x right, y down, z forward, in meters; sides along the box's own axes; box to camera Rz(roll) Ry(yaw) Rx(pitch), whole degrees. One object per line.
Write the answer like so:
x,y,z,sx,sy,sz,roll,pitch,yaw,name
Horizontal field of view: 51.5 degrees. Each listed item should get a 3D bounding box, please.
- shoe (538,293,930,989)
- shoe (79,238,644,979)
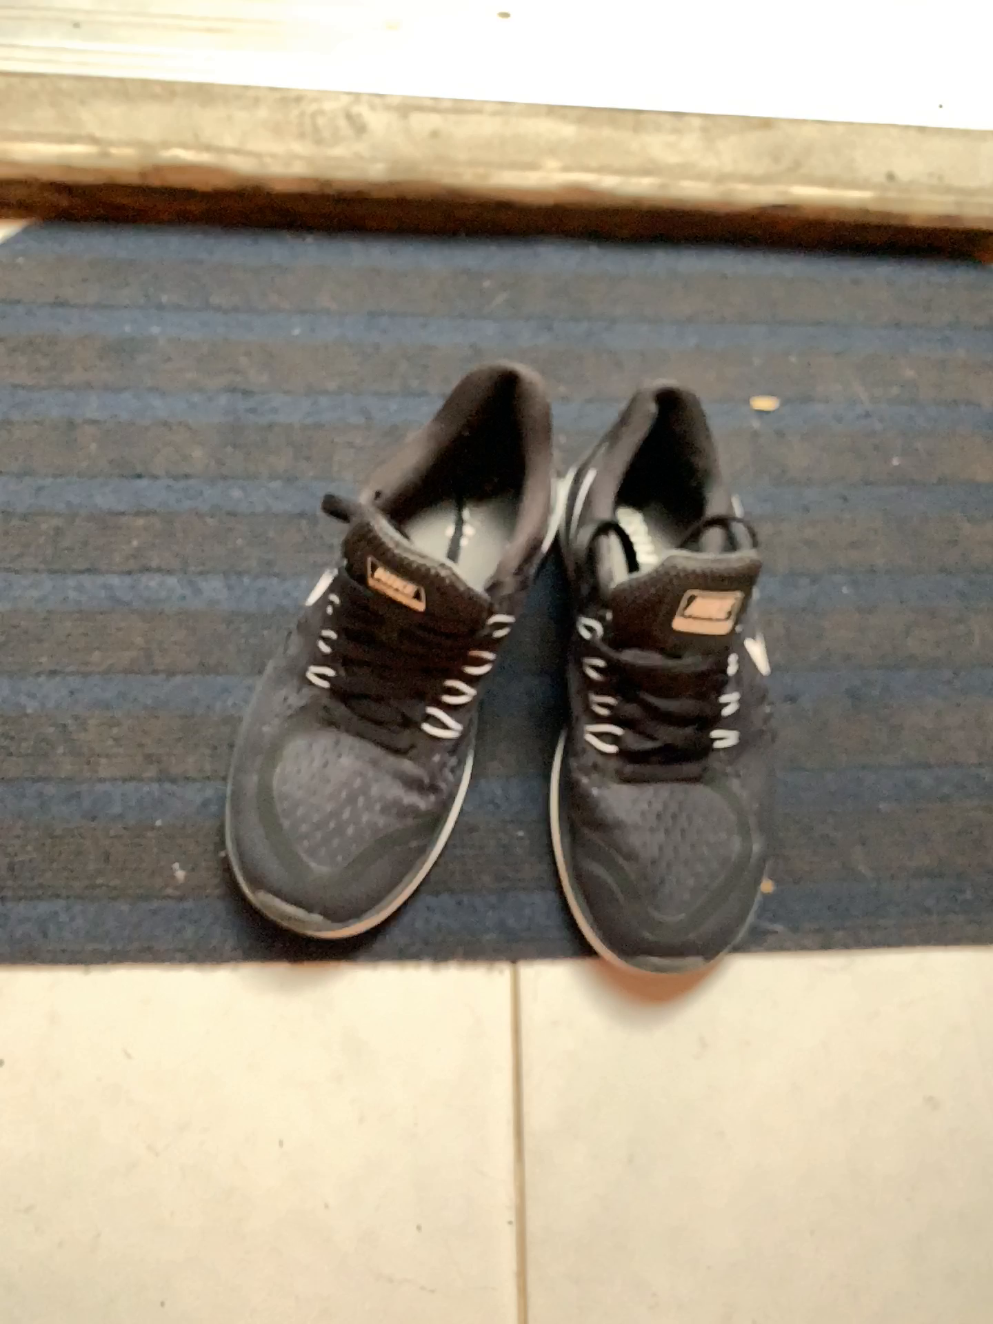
0.077,-0.004,0.413,0.106,0.119,0.248,3,68,-4,shoe
-0.039,-0.020,0.409,0.104,0.119,0.248,20,68,3,shoe
